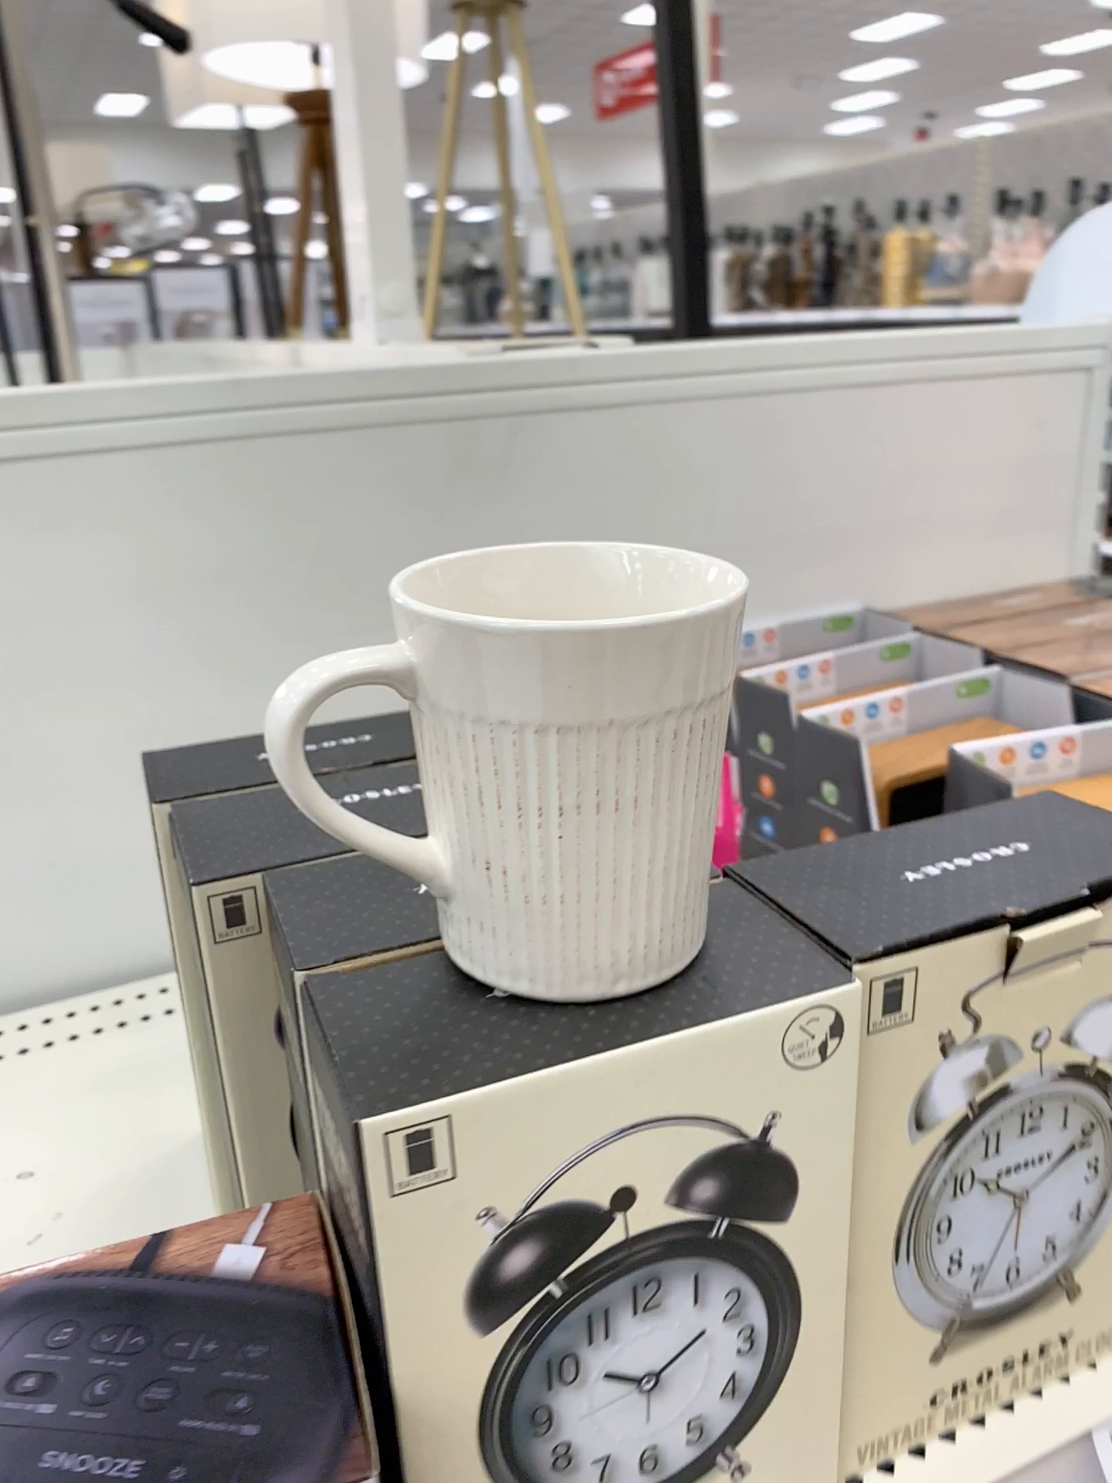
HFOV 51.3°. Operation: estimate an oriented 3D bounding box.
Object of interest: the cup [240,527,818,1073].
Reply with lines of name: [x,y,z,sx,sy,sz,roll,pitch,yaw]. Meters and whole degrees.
cup: [-0.012,0.006,0.292,0.117,0.099,0.084,-6,22,-19]
